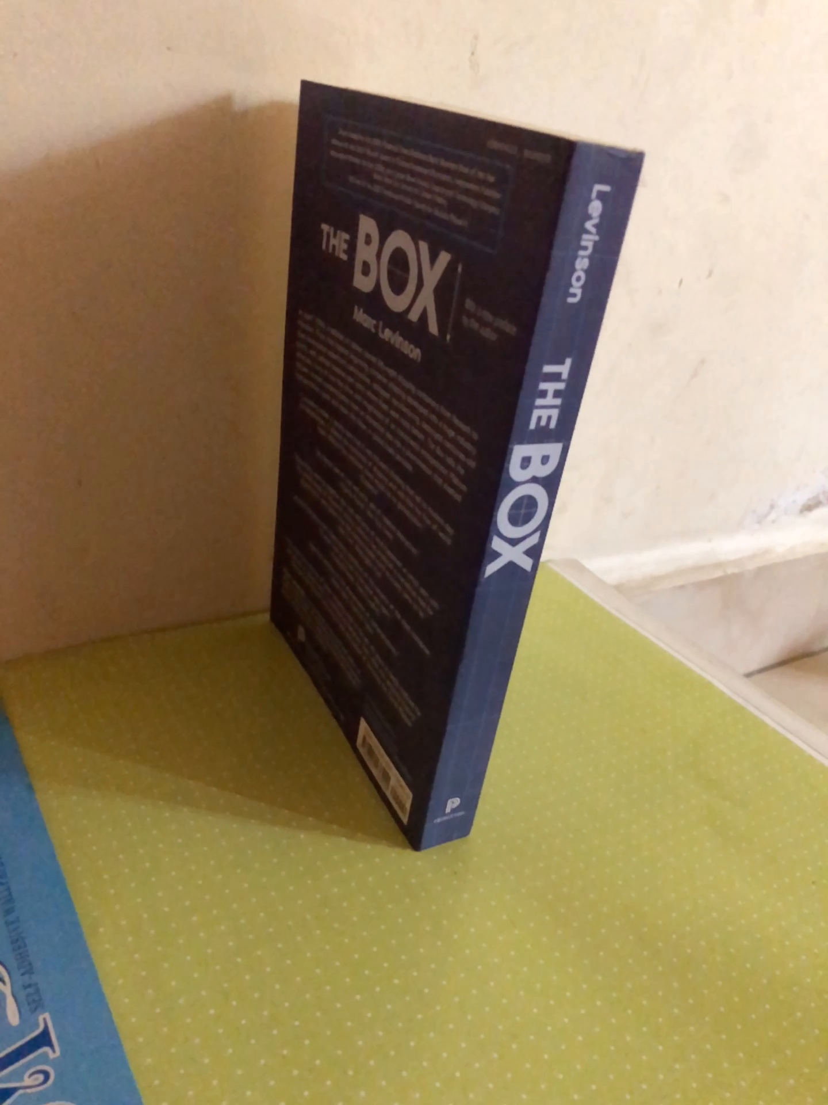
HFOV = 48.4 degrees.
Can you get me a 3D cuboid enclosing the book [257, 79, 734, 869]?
[{"bbox_3d":[0.002,-0.040,0.329,0.050,0.219,0.181,-4,28,-26],"label":"book"}]
